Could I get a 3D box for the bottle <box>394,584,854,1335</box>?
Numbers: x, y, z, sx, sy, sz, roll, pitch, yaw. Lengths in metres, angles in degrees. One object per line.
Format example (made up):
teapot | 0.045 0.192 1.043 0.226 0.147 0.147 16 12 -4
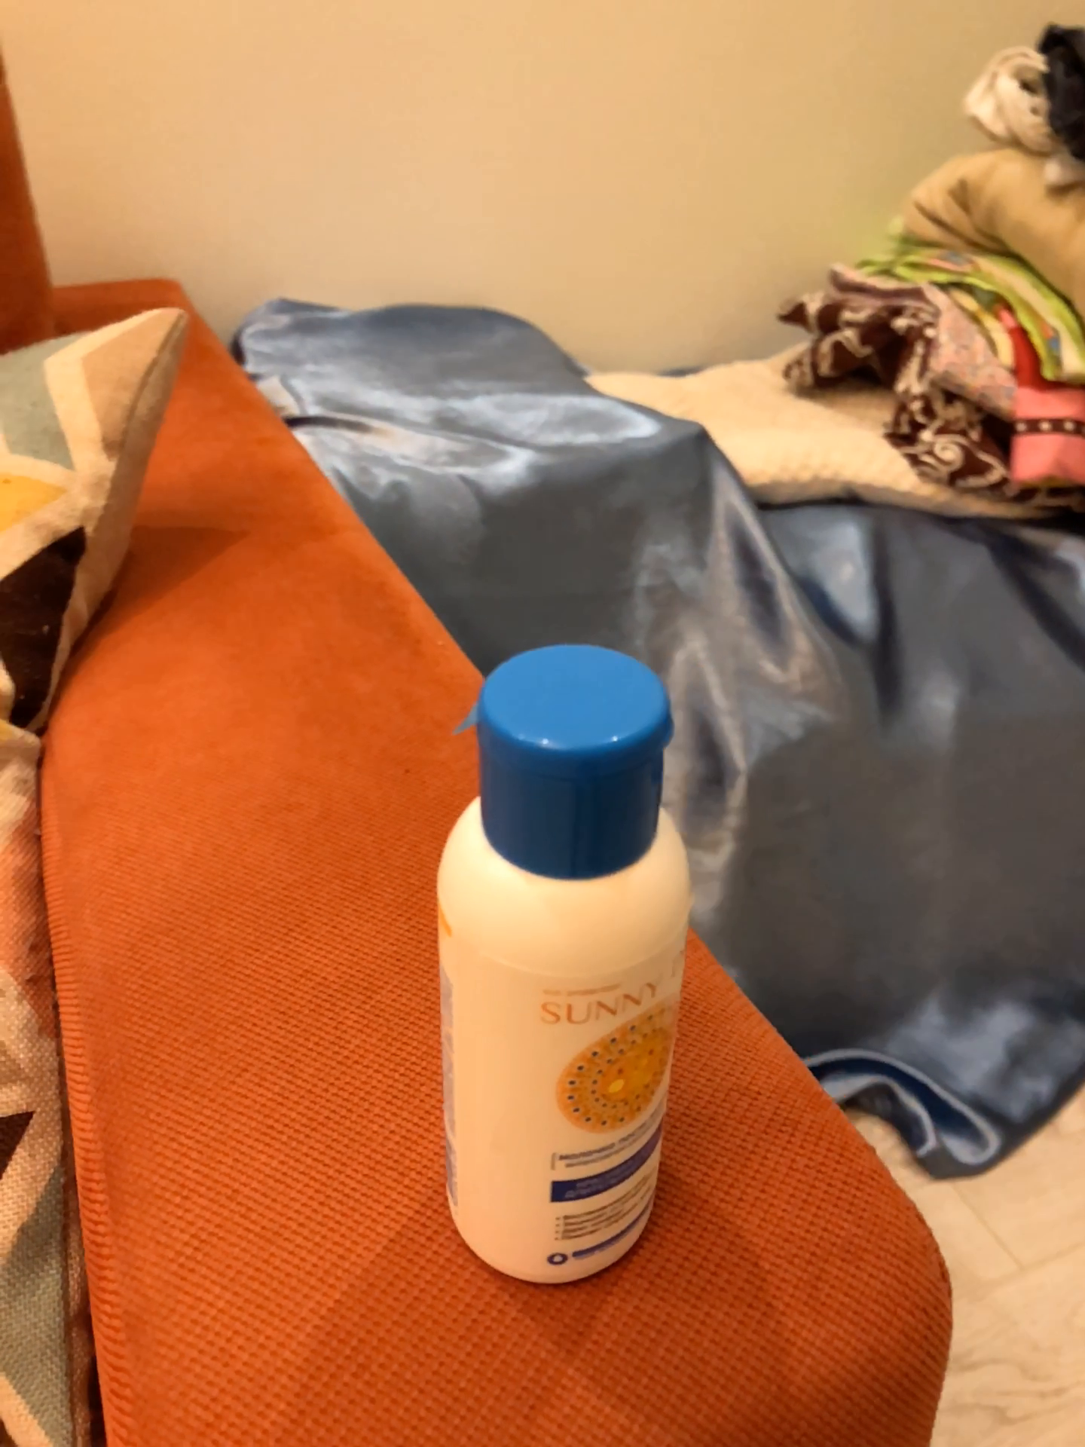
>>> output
bottle | 0.008 0.041 0.201 0.044 0.111 0.047 4 35 -3
